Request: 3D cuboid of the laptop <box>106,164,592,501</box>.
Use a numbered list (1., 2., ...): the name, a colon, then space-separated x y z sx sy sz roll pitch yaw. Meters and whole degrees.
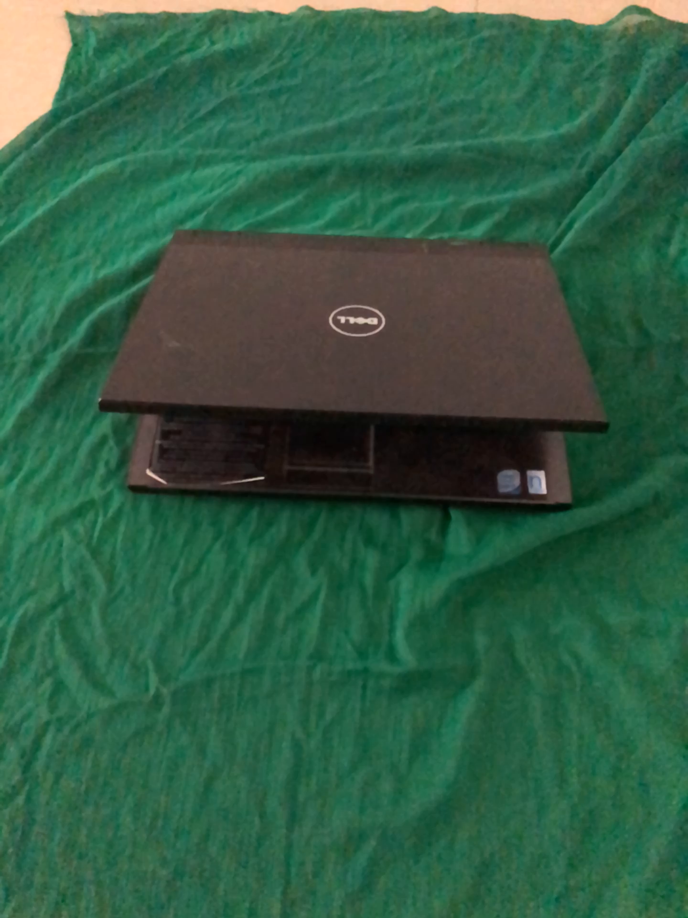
1. laptop: 0.009 -0.096 0.553 0.306 0.066 0.227 2 65 1
